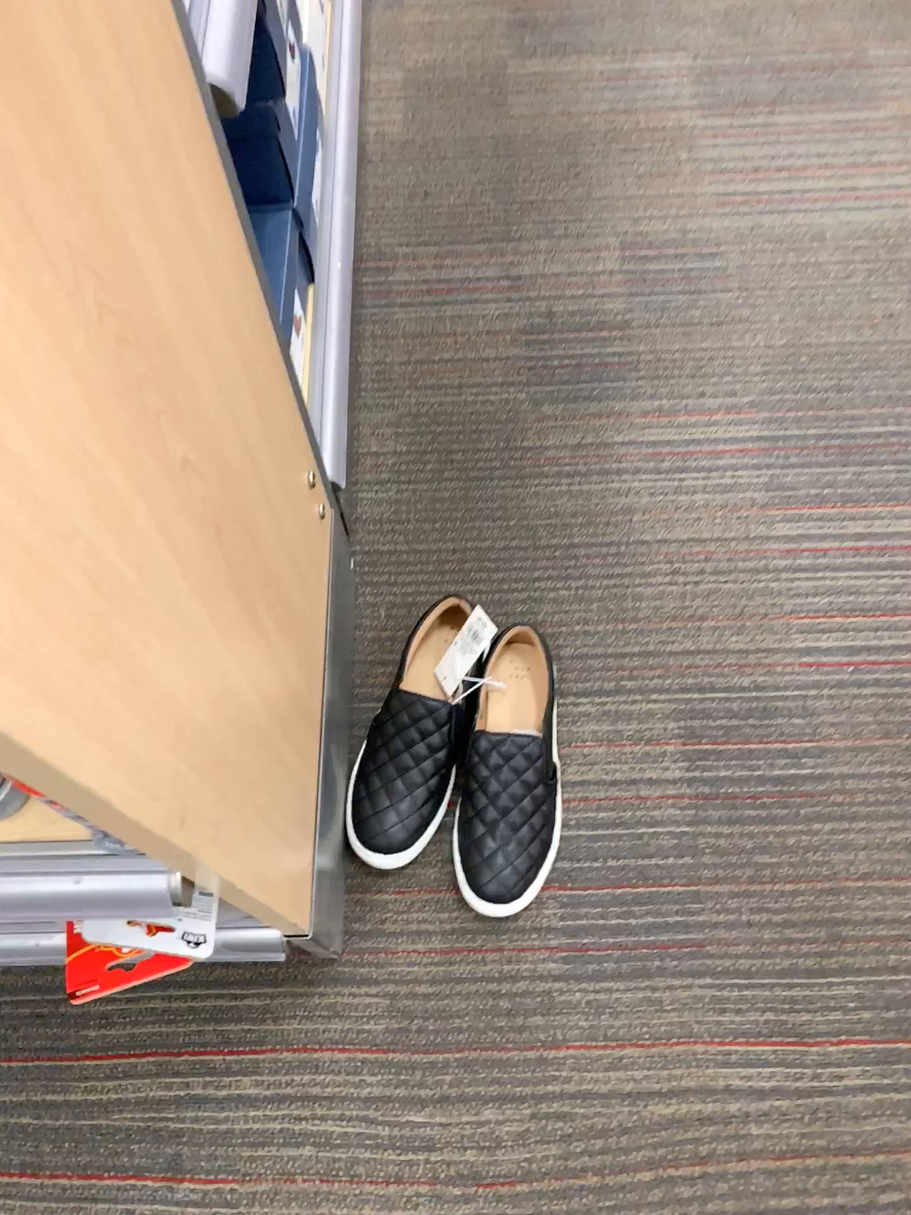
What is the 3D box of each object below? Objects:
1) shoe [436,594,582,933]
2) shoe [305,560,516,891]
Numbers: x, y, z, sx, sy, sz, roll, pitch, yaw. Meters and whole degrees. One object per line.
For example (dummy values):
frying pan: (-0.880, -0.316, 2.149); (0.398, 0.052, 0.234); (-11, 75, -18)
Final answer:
shoe: (0.049, 0.130, 0.793); (0.100, 0.100, 0.261); (4, 64, 5)
shoe: (-0.031, 0.103, 0.836); (0.100, 0.100, 0.260); (15, 66, 10)
